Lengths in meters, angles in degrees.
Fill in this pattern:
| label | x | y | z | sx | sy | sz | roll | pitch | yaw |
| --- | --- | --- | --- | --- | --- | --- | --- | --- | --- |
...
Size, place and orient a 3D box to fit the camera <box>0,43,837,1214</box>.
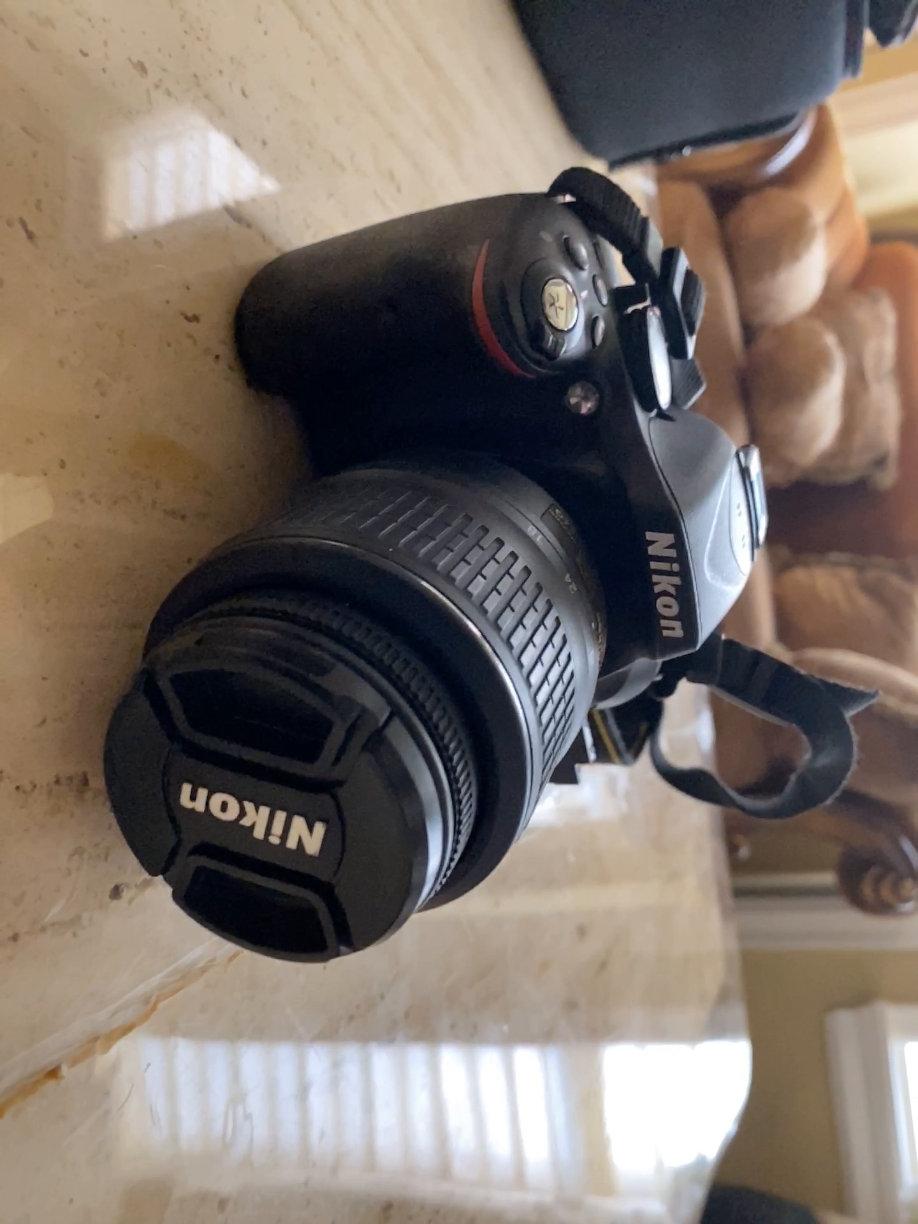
| label | x | y | z | sx | sy | sz | roll | pitch | yaw |
| --- | --- | --- | --- | --- | --- | --- | --- | --- | --- |
| camera | 0.012 | -0.008 | 0.201 | 0.160 | 0.100 | 0.152 | -54 | 133 | -62 |
